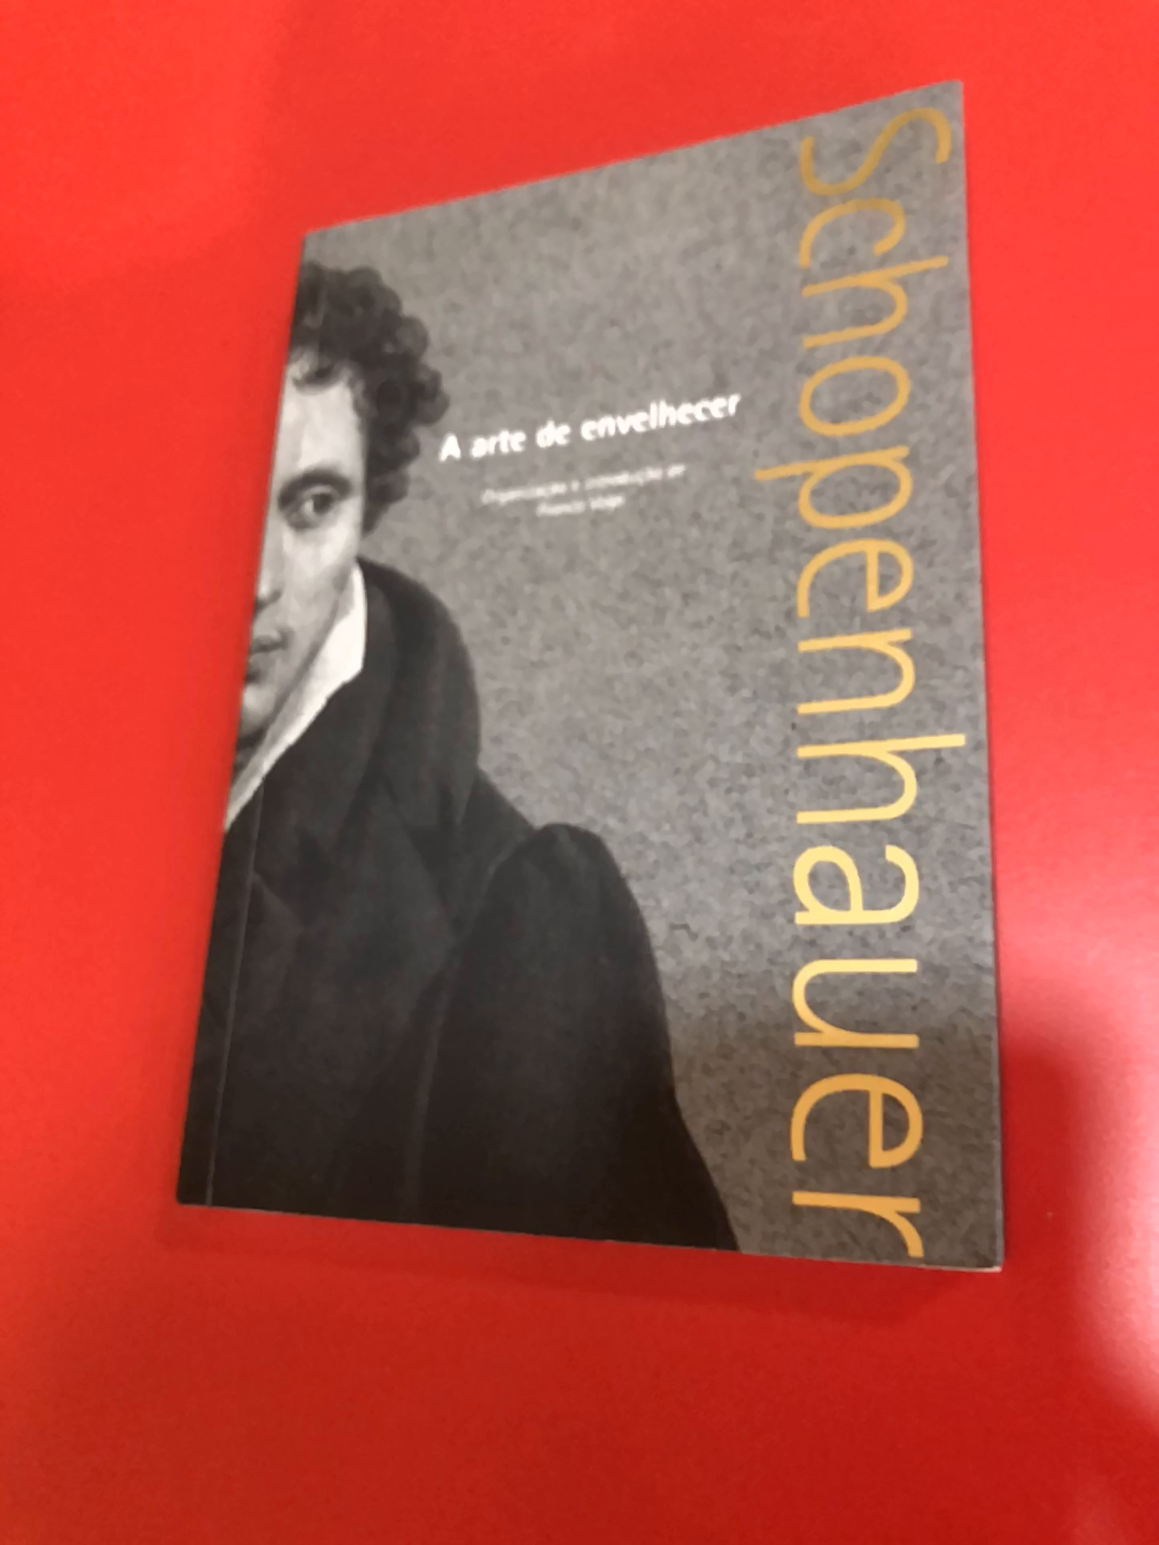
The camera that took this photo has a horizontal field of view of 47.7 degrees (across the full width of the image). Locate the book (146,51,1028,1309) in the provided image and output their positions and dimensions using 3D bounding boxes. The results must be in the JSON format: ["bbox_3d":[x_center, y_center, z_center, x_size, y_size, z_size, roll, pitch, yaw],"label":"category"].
[{"bbox_3d":[0.001,-0.021,0.225,0.137,0.017,0.196,-3,73,21],"label":"book"}]
